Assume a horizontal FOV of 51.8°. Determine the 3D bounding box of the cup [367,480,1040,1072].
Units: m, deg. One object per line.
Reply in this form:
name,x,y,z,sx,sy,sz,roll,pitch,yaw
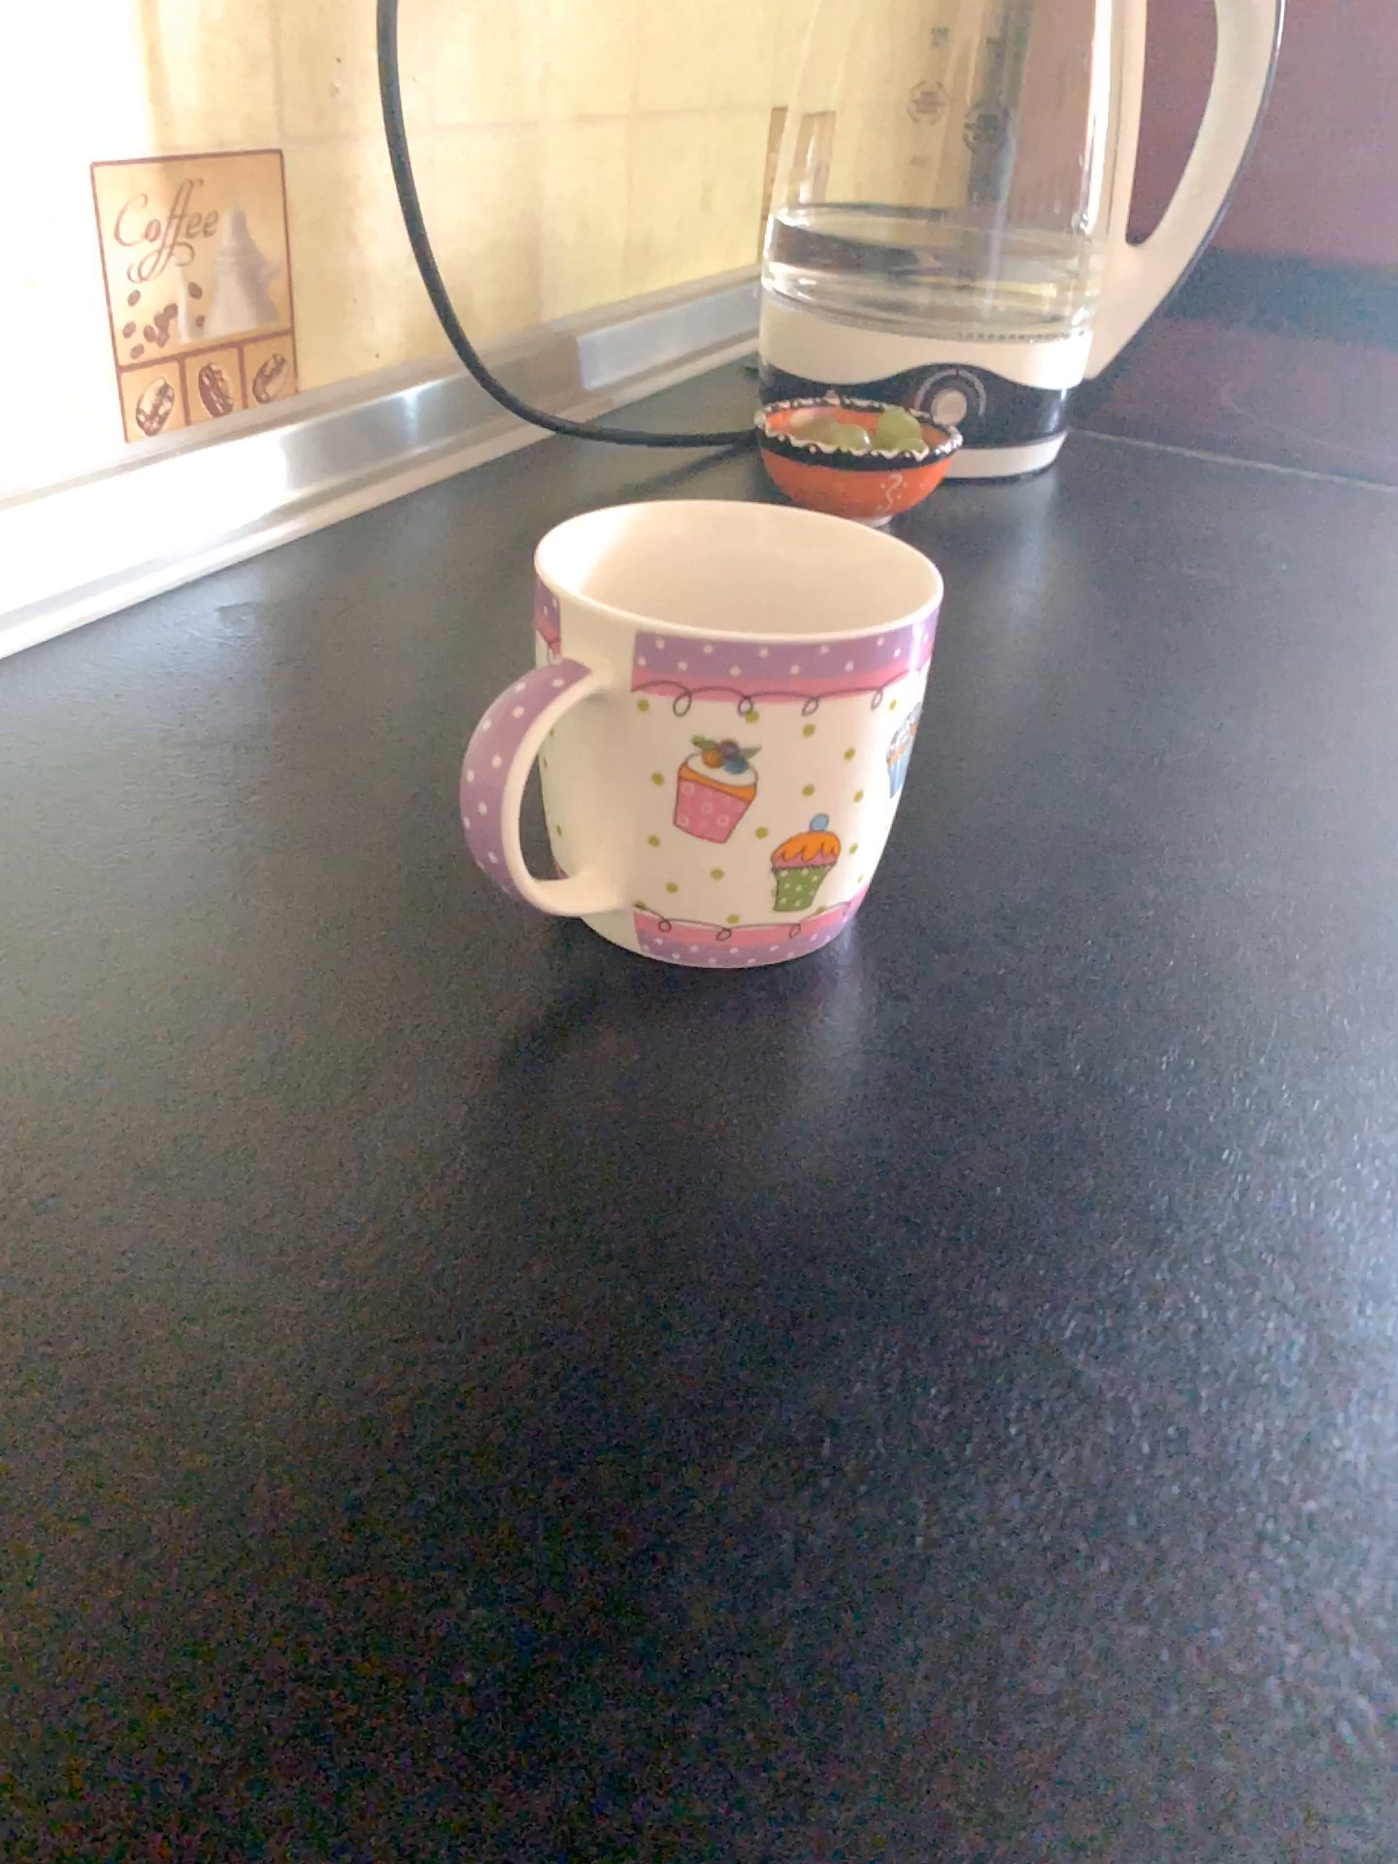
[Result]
cup,-0.001,-0.041,0.310,0.110,0.080,0.080,-20,40,-35
